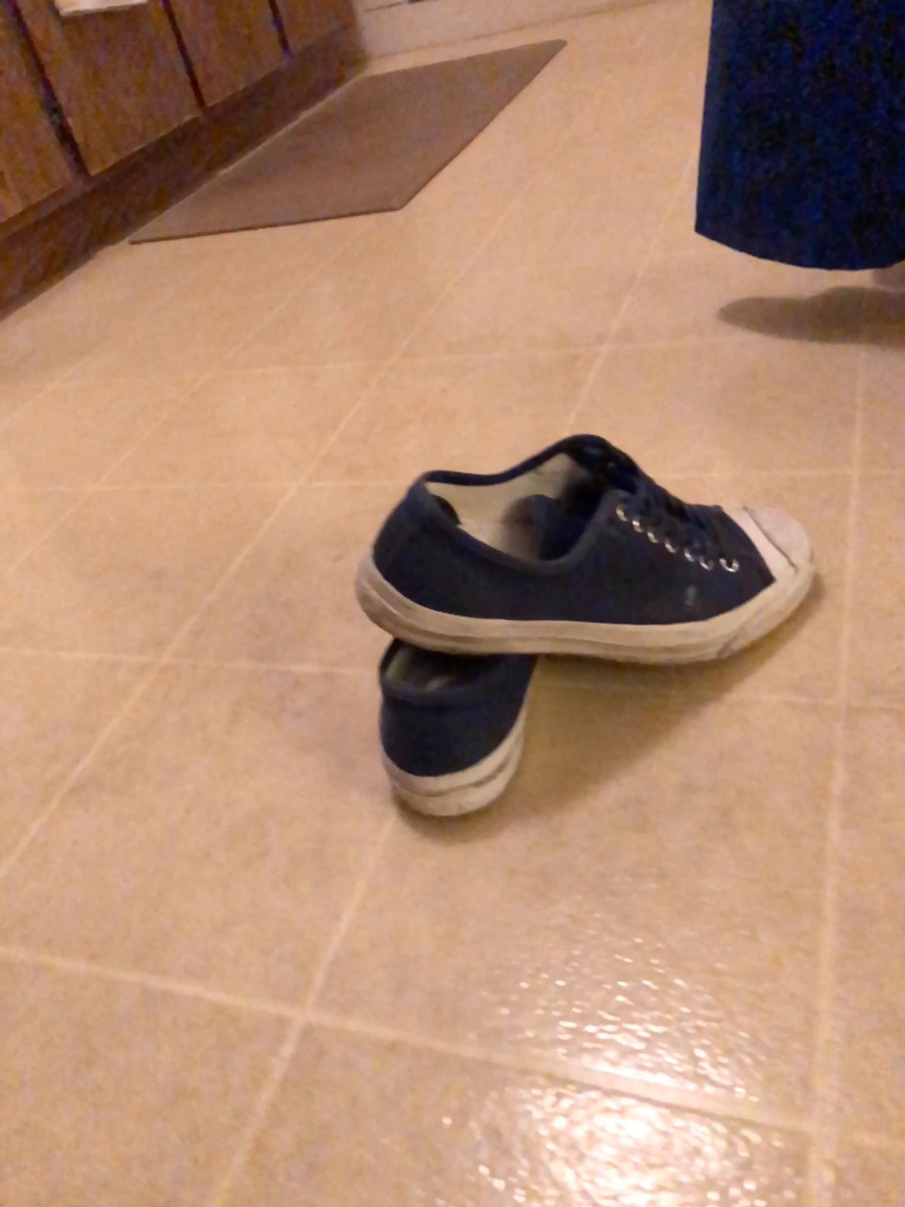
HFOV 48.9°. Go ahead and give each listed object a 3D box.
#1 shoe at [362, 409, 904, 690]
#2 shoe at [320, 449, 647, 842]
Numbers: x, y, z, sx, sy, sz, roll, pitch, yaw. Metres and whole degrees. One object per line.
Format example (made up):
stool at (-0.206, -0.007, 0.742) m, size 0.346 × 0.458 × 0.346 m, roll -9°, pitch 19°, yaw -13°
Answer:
shoe at (0.110, -0.037, 0.562) m, size 0.290 × 0.099 × 0.101 m, roll -5°, pitch 50°, yaw -25°
shoe at (0.038, 0.004, 0.613) m, size 0.110 × 0.080 × 0.292 m, roll 5°, pitch 34°, yaw 20°
